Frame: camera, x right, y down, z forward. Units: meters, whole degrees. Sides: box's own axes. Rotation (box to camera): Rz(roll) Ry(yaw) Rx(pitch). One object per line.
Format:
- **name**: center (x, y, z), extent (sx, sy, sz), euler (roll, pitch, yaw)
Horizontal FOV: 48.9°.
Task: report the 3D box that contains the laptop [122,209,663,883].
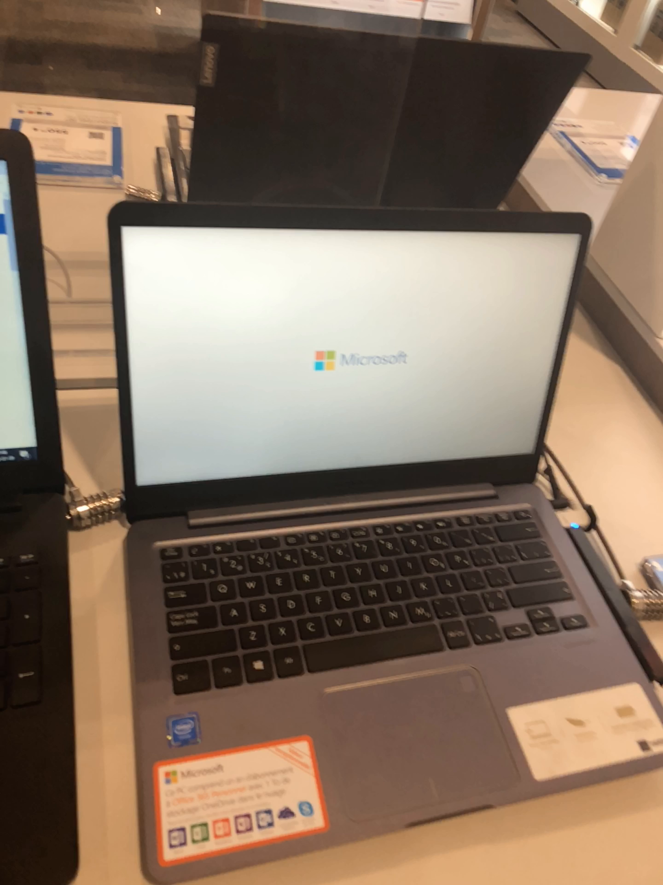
- **laptop**: center (0.049, 0.030, 0.430), extent (0.316, 0.196, 0.292), euler (-4, 48, -16)
